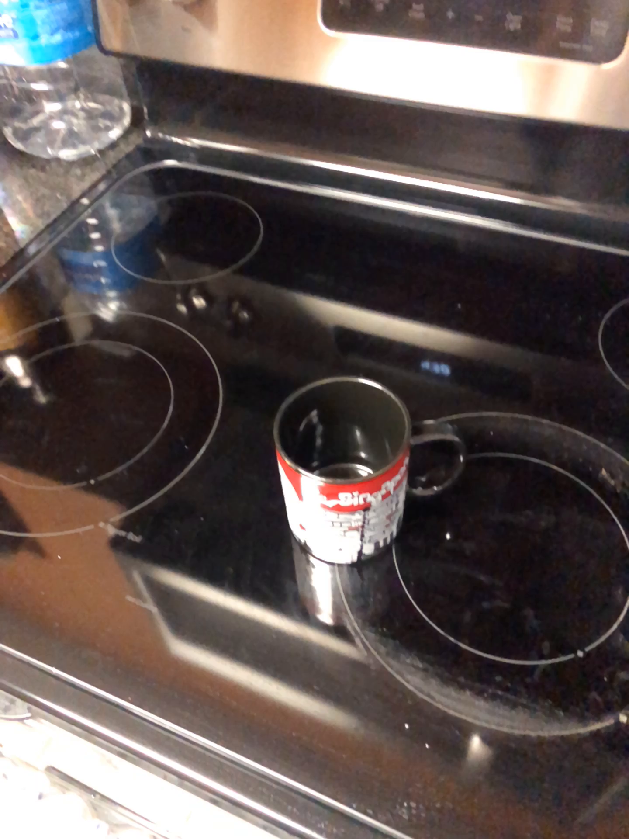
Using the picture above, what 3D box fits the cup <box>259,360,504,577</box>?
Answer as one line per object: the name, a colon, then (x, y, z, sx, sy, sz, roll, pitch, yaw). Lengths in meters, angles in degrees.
cup: (0.035, 0.031, 0.432, 0.130, 0.090, 0.090, -4, 50, 0)
